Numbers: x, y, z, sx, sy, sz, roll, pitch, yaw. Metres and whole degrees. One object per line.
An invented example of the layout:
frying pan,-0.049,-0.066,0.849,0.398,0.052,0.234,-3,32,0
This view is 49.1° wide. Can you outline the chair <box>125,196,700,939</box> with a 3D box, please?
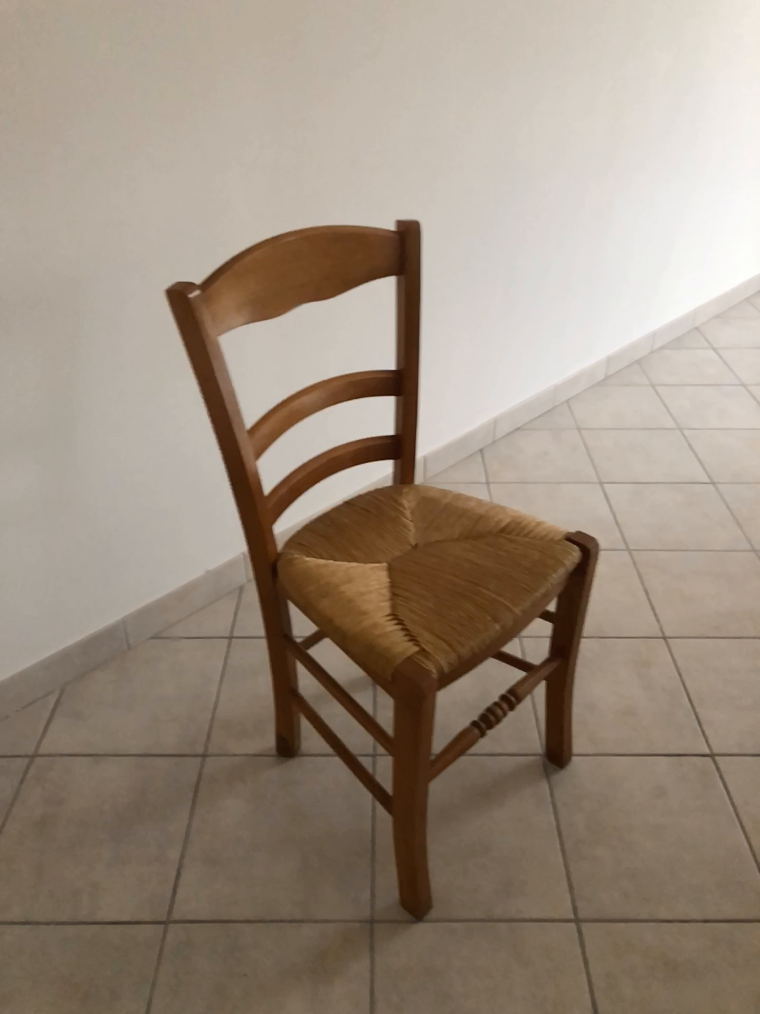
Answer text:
chair,0.036,0.063,1.199,0.500,0.825,0.452,28,42,35
